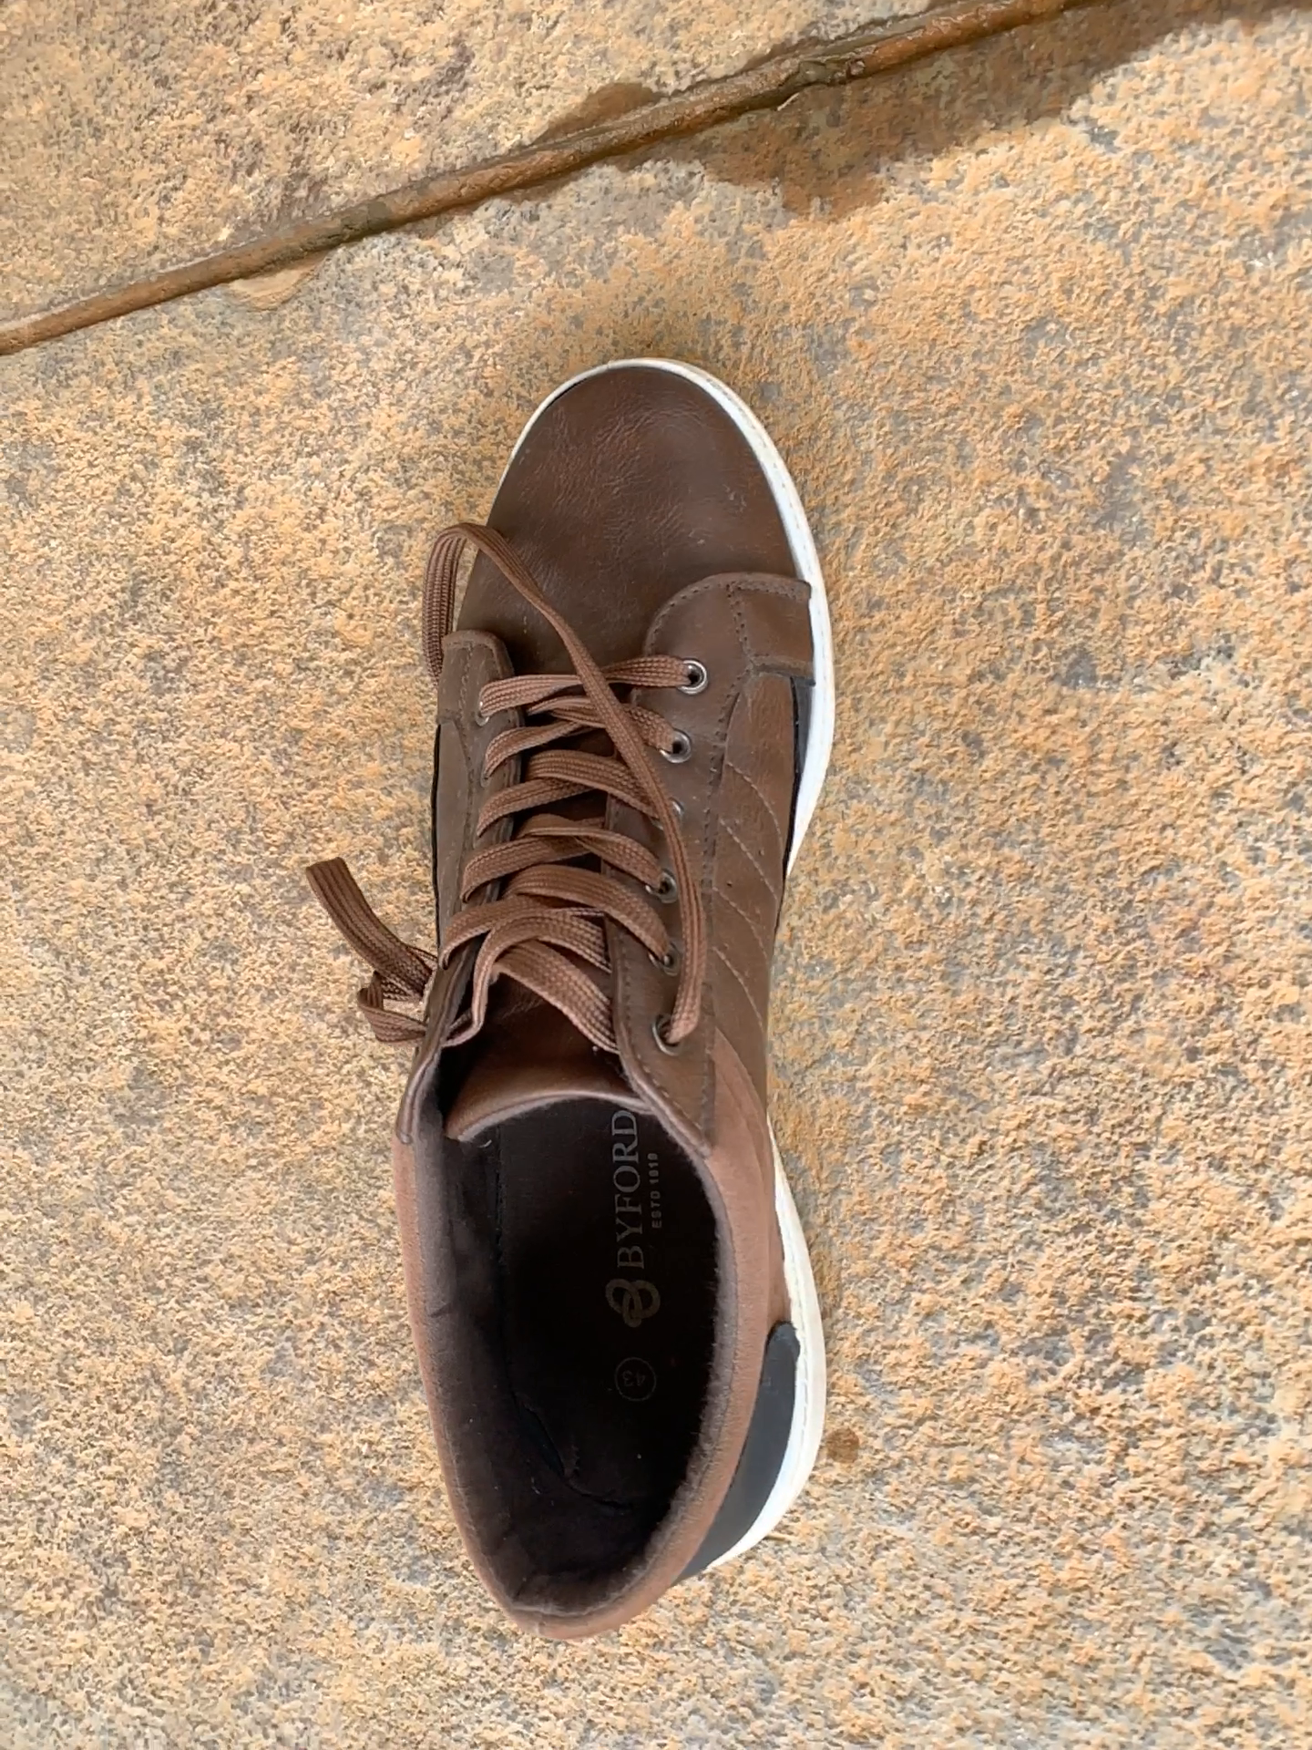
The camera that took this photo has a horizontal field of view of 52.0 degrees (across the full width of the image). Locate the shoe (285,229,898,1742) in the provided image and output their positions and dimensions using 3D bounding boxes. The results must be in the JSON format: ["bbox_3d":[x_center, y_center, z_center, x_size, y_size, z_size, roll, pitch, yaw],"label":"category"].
[{"bbox_3d":[-0.016,0.021,0.326,0.110,0.080,0.300,-6,84,24],"label":"shoe"}]
